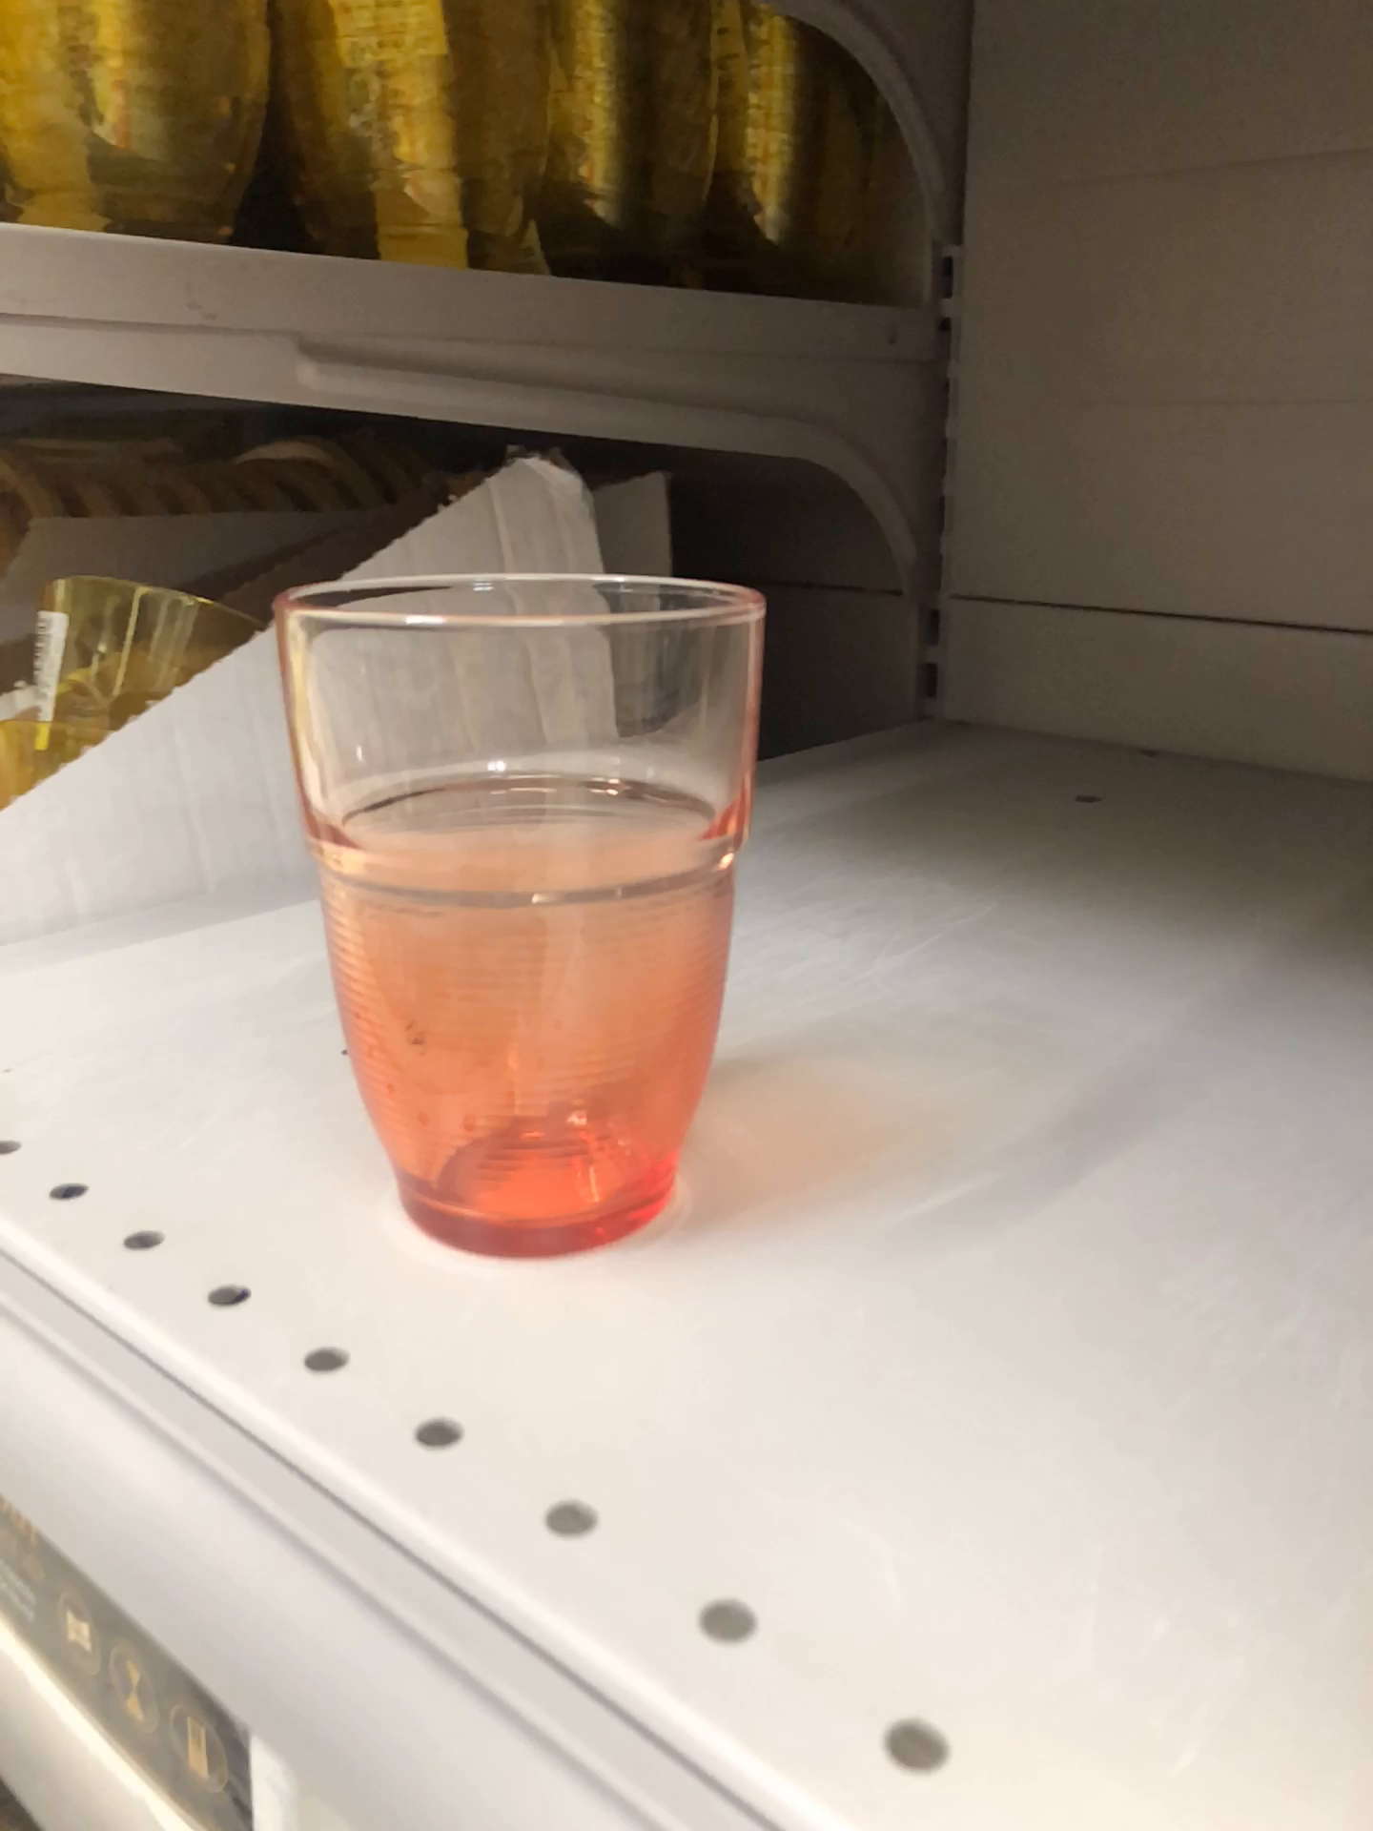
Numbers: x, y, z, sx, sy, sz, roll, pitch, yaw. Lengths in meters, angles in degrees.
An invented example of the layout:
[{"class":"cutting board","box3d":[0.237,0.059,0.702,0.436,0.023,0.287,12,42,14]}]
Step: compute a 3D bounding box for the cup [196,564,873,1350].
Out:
[{"class":"cup","box3d":[-0.019,-0.001,0.246,0.080,0.100,0.075,1,17,0]}]
